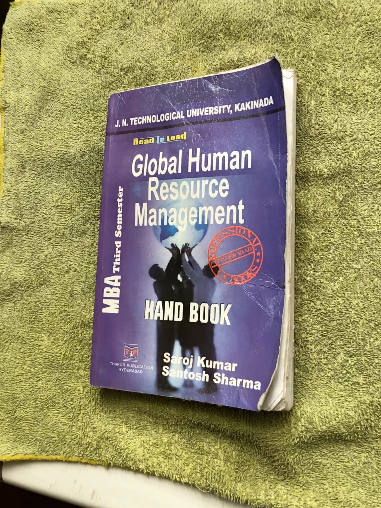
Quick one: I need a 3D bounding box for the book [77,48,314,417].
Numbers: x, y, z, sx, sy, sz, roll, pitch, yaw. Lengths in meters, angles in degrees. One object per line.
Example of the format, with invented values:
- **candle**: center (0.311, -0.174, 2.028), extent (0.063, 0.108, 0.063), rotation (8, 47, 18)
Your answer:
- **book**: center (0.003, -0.013, 0.273), extent (0.140, 0.040, 0.200), rotation (0, 84, 23)
